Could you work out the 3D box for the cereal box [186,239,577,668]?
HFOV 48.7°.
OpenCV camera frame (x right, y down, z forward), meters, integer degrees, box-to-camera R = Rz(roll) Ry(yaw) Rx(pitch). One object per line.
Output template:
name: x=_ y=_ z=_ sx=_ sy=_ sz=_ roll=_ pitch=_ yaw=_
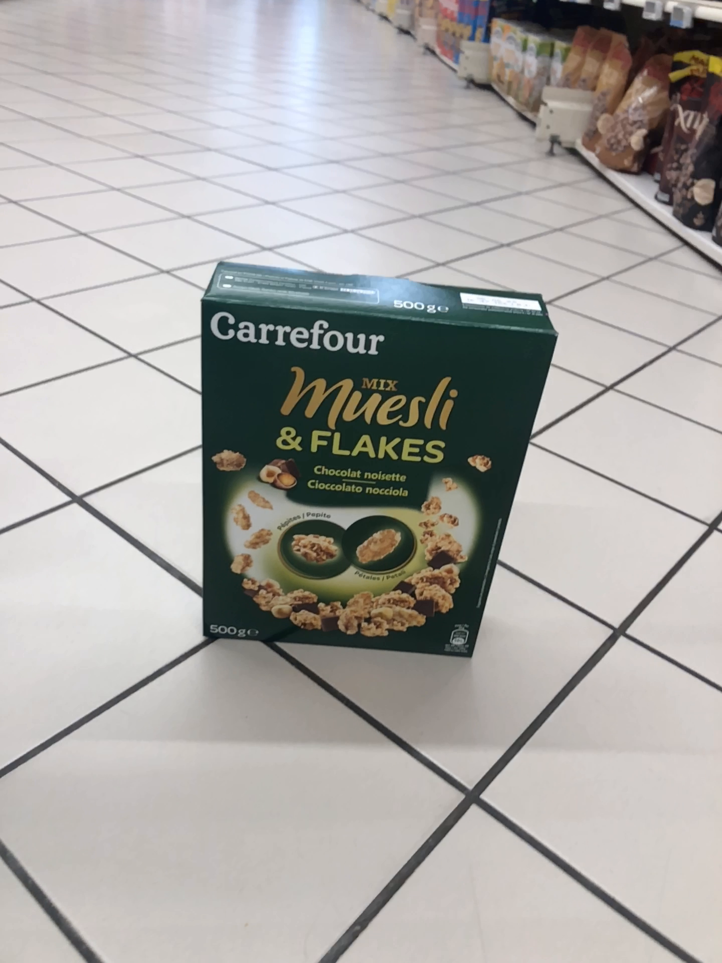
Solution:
cereal box: x=-0.001 y=-0.007 z=0.508 sx=0.200 sy=0.248 sz=0.080 roll=6 pitch=34 yaw=-3
